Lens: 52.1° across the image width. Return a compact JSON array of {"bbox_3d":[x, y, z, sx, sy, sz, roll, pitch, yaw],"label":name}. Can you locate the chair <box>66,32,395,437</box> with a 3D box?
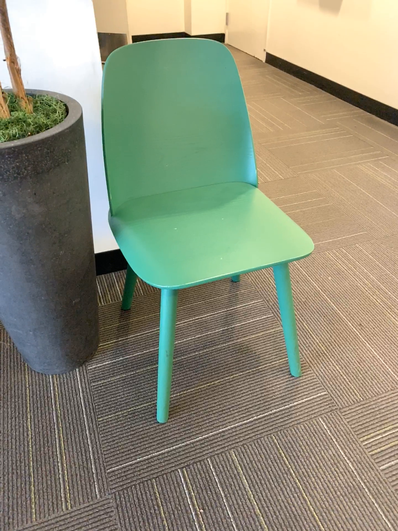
[{"bbox_3d":[-0.025,-0.133,0.978,0.390,0.626,0.714,-12,40,-14],"label":"chair"}]
